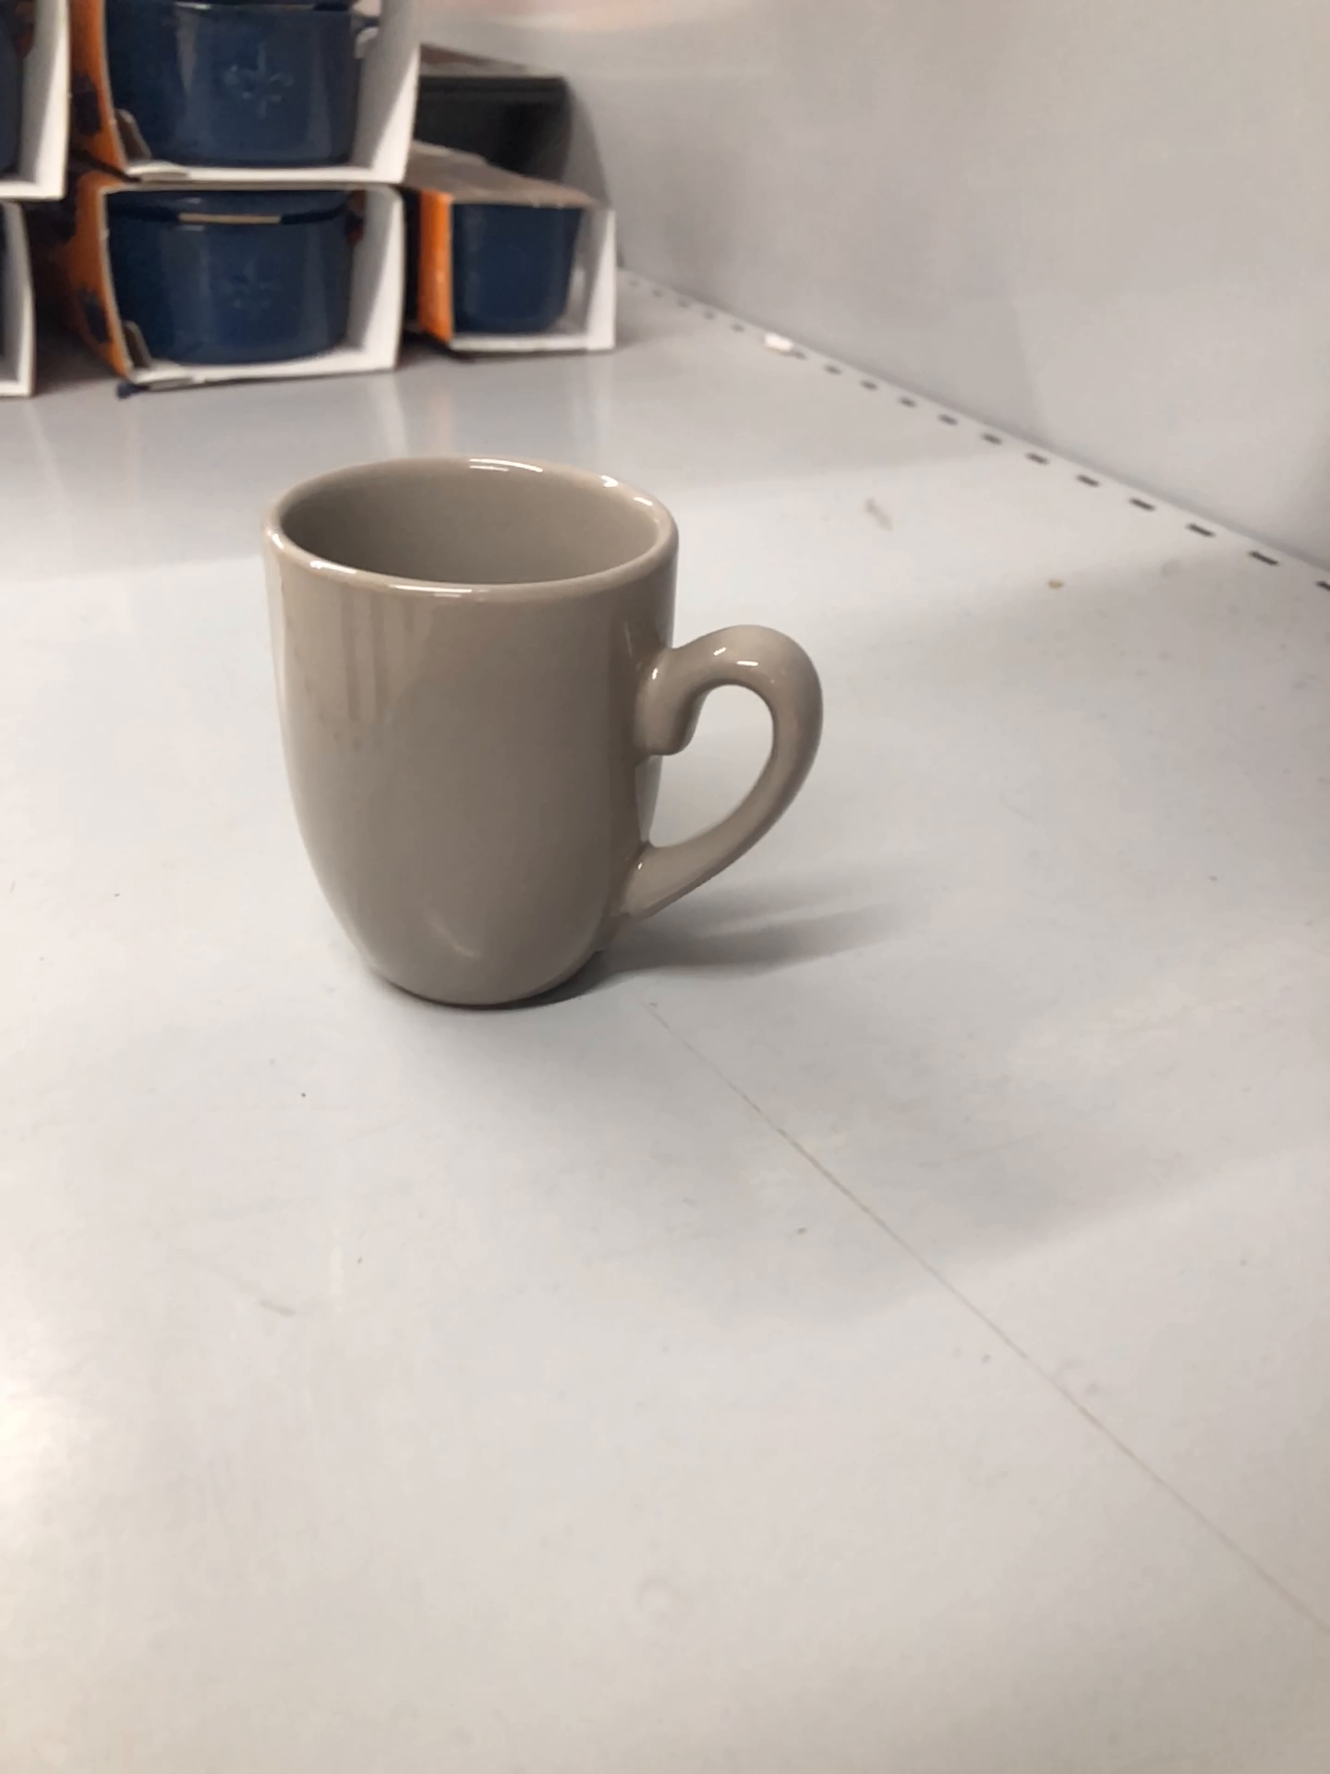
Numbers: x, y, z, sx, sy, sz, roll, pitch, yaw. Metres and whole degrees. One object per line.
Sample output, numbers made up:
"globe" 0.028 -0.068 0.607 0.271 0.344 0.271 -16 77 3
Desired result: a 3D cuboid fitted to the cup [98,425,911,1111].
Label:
"cup" -0.019 -0.023 0.218 0.091 0.062 0.065 13 34 16
